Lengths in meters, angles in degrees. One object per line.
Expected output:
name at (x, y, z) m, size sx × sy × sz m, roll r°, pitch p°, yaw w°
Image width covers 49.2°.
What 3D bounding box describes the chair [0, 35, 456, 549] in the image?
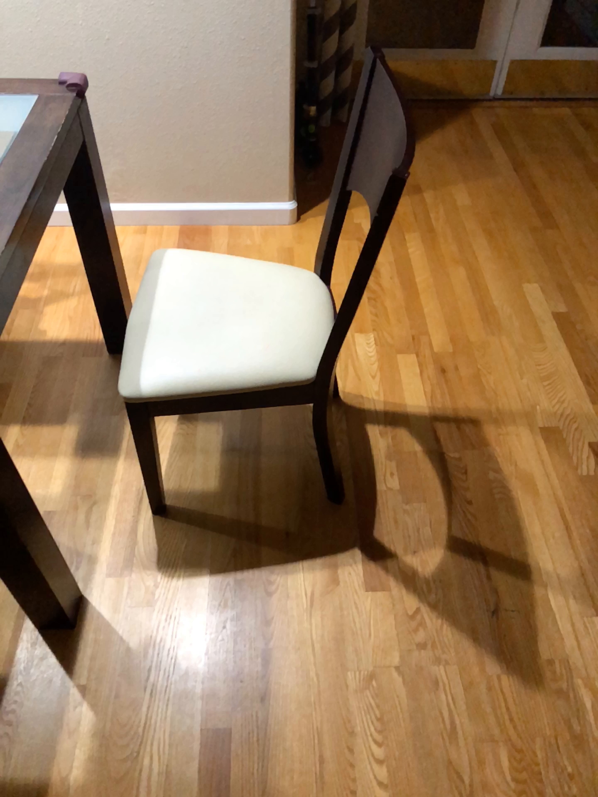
chair at (-0.123, -0.166, 1.450) m, size 0.640 × 1.005 × 0.503 m, roll -3°, pitch 48°, yaw -4°
